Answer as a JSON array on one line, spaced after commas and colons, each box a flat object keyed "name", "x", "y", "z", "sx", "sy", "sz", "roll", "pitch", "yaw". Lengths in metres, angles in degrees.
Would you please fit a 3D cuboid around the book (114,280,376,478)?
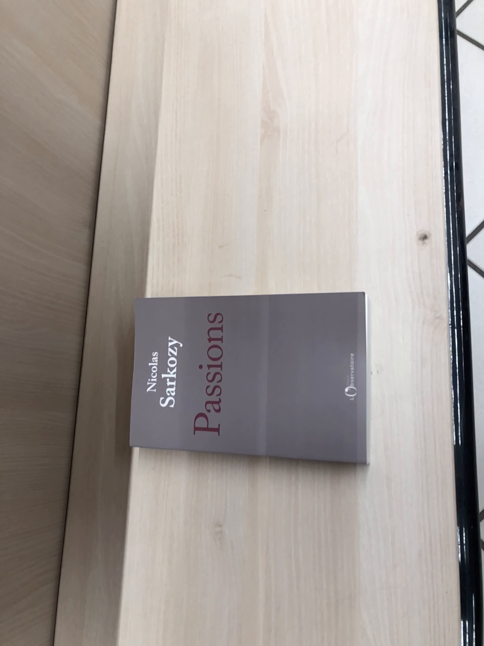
[{"name": "book", "x": 0.002, "y": 0.049, "z": 0.475, "sx": 0.224, "sy": 0.044, "sz": 0.157, "roll": -2, "pitch": 78, "yaw": 18}]
